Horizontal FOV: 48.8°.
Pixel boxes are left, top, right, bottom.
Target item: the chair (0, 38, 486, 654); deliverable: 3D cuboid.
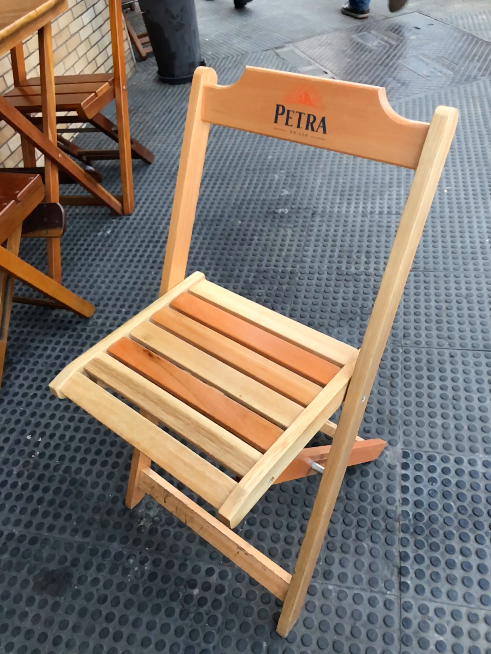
[{"bbox_3d":[-0.020,0.044,0.872,0.482,0.755,0.502,26,54,32],"label":"chair"}]
